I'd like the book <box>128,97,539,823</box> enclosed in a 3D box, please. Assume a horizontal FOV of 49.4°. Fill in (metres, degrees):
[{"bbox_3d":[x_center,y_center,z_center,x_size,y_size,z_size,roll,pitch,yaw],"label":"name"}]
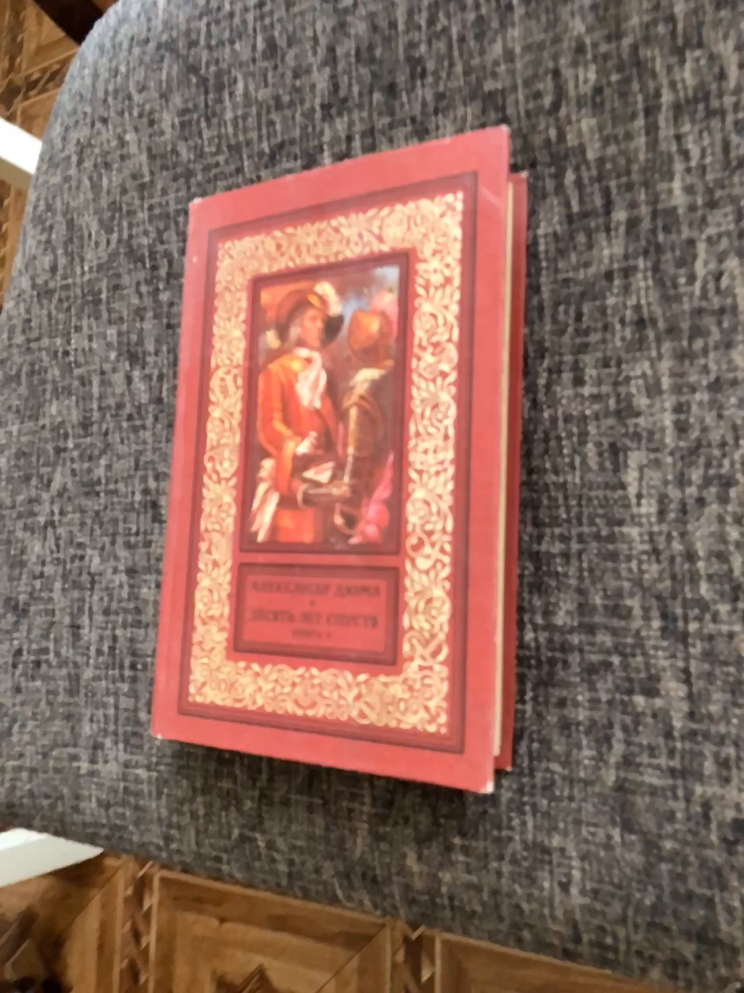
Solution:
[{"bbox_3d":[-0.015,-0.012,0.276,0.132,0.038,0.206,-1,83,30],"label":"book"}]
